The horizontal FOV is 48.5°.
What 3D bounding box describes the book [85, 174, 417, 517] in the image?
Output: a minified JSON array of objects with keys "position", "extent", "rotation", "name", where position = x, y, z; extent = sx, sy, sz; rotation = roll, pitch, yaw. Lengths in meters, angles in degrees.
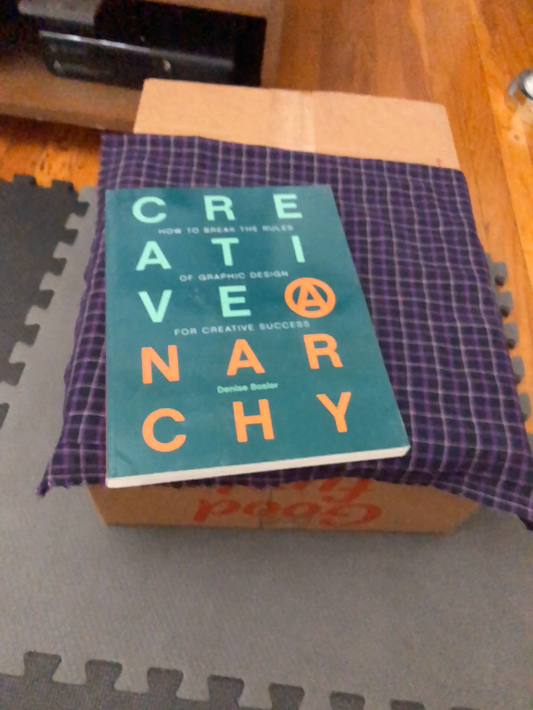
[{"position":[-0.029,-0.034,0.476],"extent":[0.220,0.020,0.301],"rotation":[-5,57,-9],"name":"book"}]
